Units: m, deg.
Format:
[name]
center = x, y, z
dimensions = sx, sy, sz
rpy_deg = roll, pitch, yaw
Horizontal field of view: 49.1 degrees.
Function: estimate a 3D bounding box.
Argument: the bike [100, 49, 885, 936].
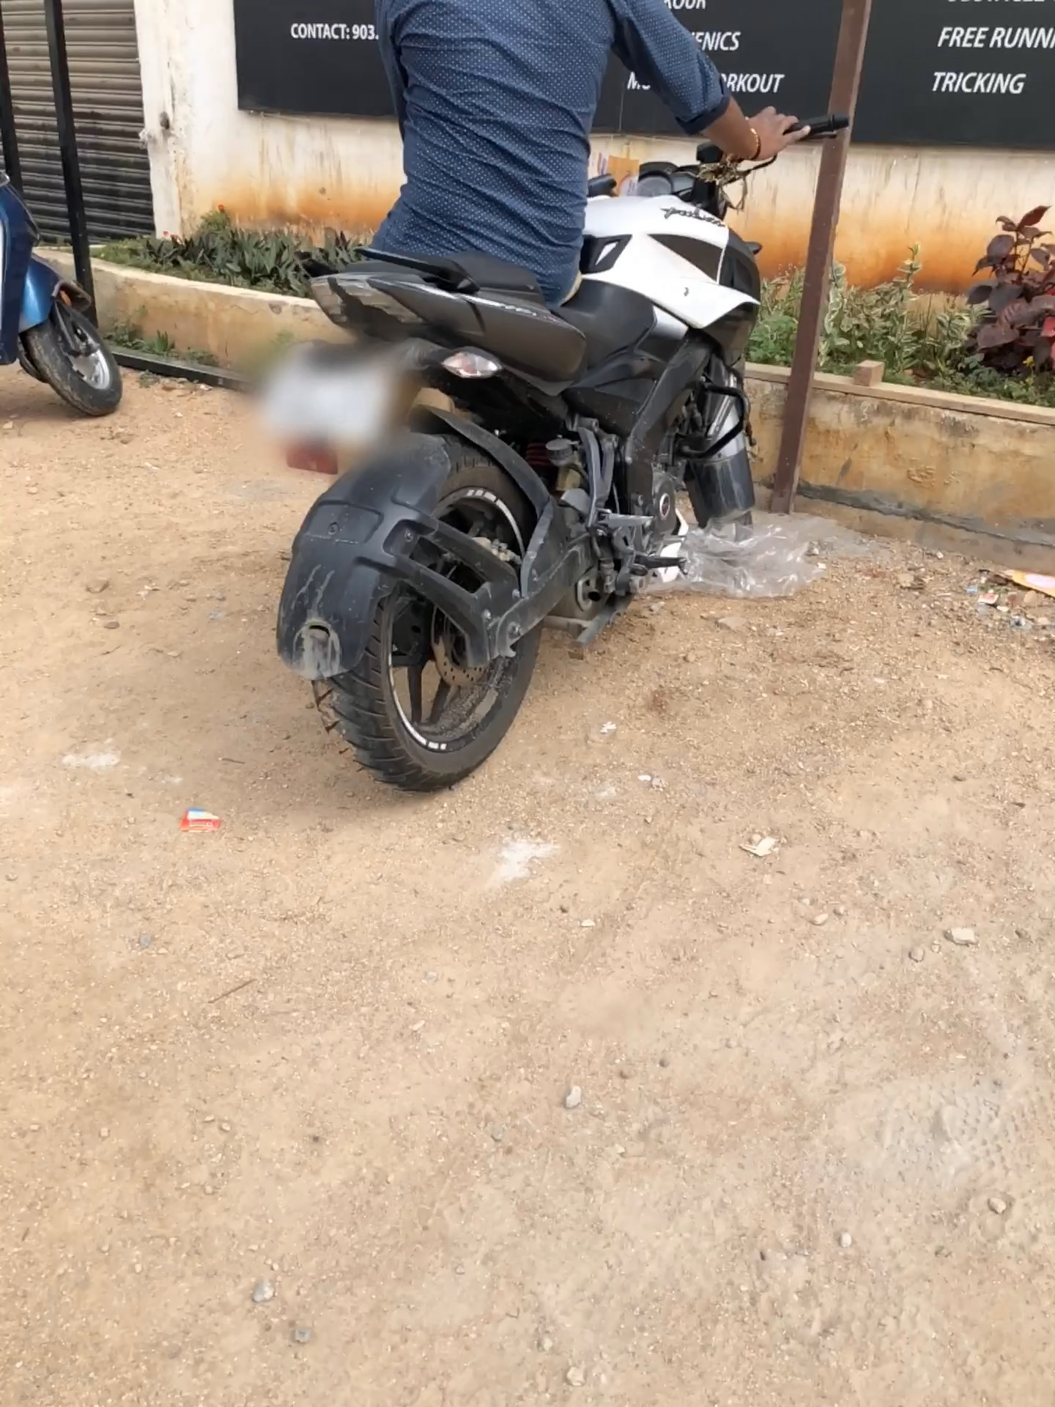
[bike]
center = 0.119, -0.670, 2.353
dimensions = 0.778, 1.123, 1.862
rpy_deg = 12, 30, 18
